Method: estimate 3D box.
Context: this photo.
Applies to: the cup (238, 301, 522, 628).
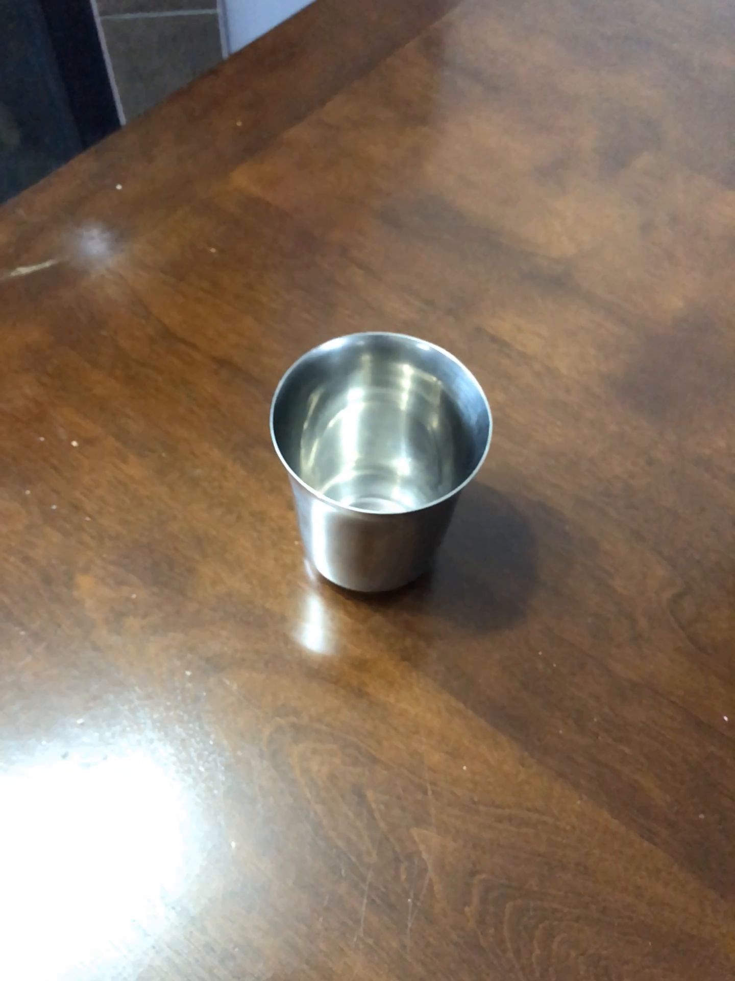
[{"bbox_3d":[0.006,-0.009,0.328,0.080,0.080,0.080,1,58,-2],"label":"cup"}]
